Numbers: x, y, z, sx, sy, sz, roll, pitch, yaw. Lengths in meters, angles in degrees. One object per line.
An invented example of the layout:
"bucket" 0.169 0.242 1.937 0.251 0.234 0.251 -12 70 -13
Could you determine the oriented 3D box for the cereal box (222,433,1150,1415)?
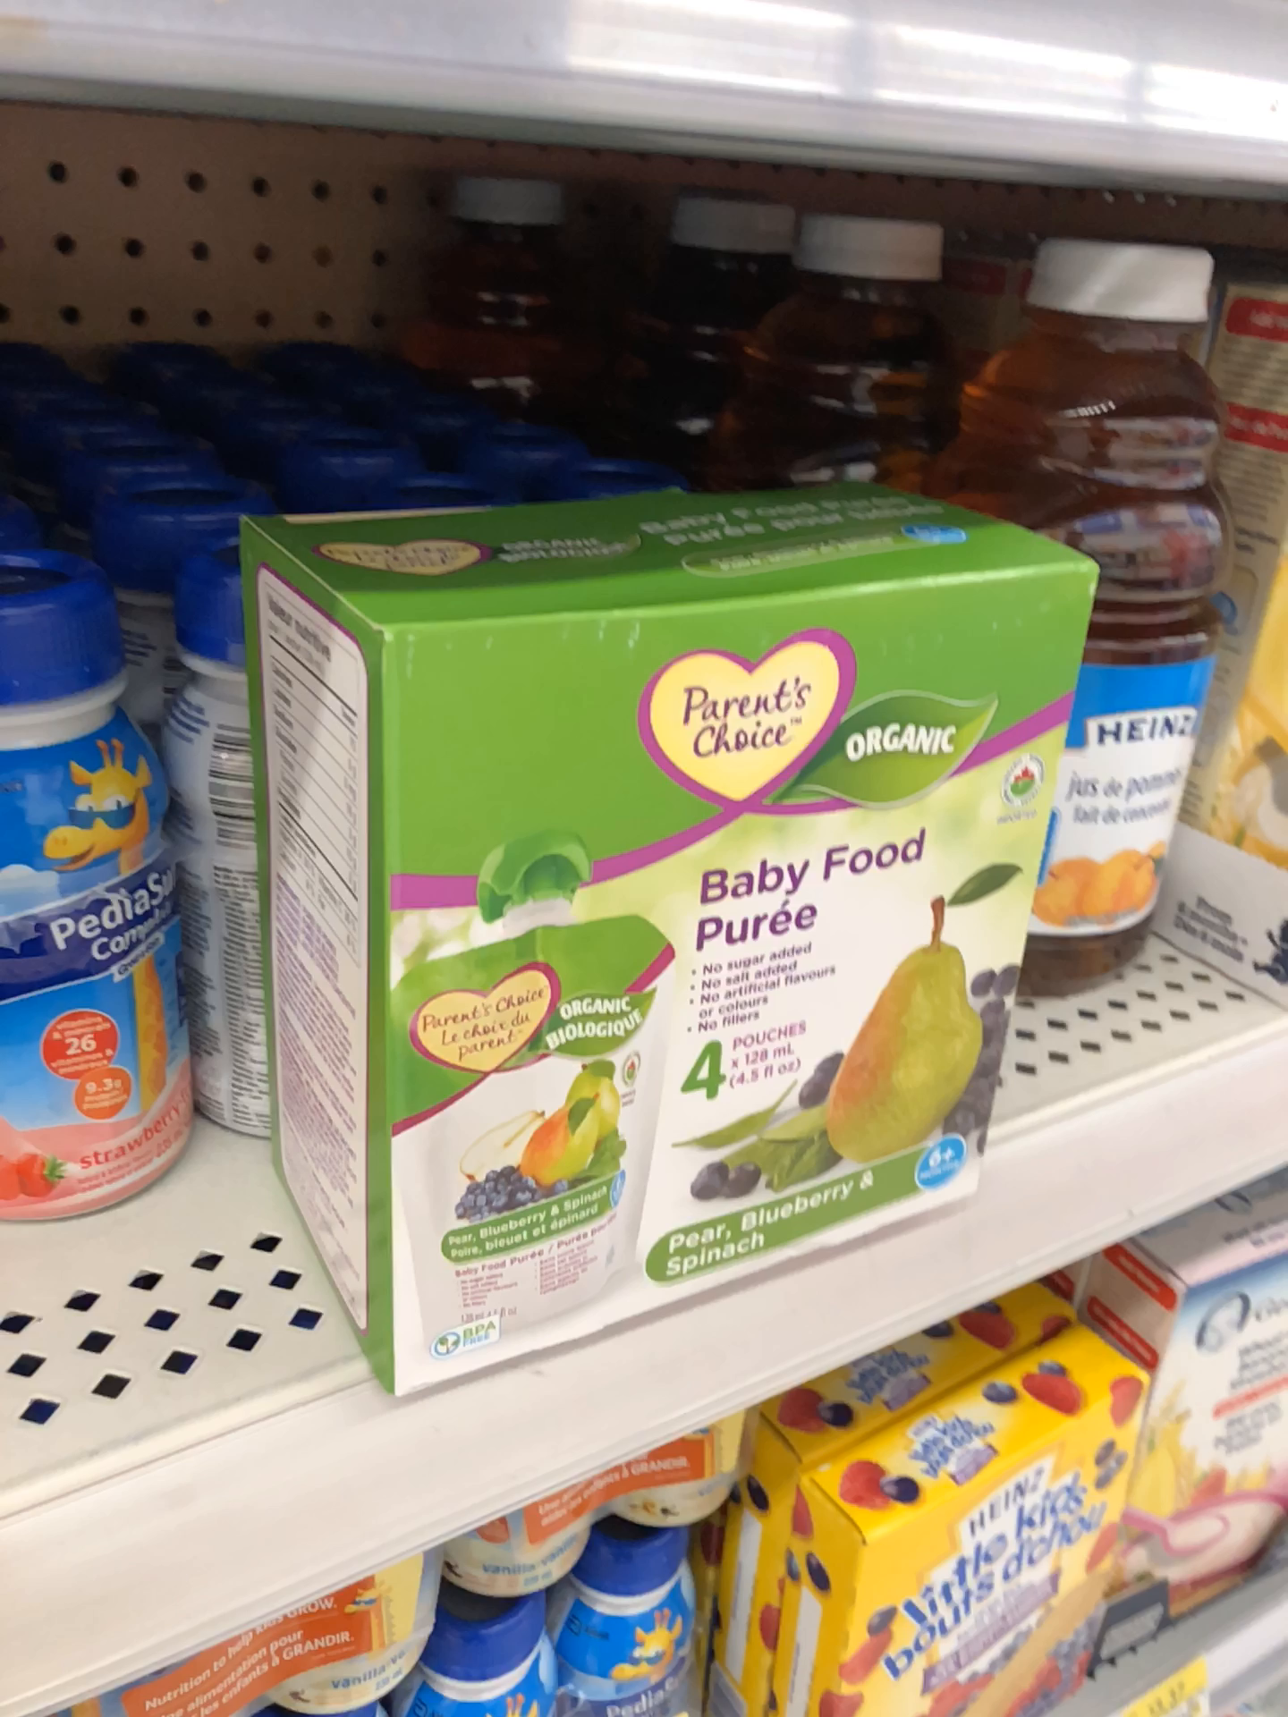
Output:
"cereal box" 0.001 0.001 0.302 0.150 0.159 0.090 -10 30 -30
